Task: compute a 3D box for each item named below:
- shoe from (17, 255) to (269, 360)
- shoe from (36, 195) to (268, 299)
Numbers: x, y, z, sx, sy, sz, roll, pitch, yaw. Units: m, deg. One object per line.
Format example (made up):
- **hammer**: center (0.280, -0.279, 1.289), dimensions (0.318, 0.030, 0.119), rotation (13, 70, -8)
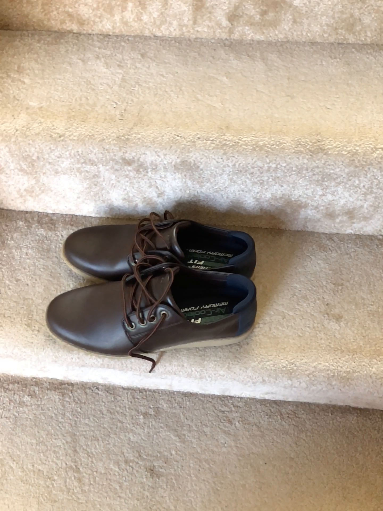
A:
- **shoe**: center (-0.057, 0.071, 0.568), dimensions (0.300, 0.090, 0.111), rotation (-1, 57, 1)
- **shoe**: center (-0.049, -0.012, 0.610), dimensions (0.300, 0.090, 0.111), rotation (2, 57, 3)
